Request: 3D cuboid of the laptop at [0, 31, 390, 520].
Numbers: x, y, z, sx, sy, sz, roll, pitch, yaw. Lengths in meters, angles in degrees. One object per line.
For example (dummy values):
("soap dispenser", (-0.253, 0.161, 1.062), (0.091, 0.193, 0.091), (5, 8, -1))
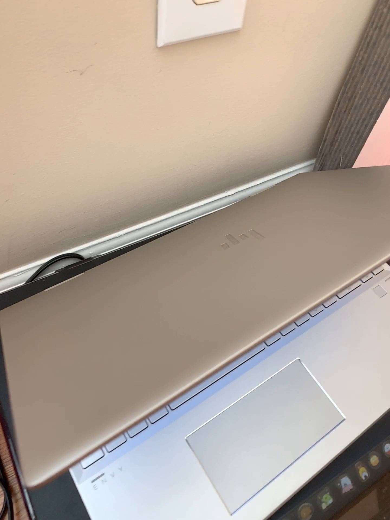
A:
("laptop", (0.056, 0.017, 0.286), (0.351, 0.169, 0.237), (-27, 64, -23))
